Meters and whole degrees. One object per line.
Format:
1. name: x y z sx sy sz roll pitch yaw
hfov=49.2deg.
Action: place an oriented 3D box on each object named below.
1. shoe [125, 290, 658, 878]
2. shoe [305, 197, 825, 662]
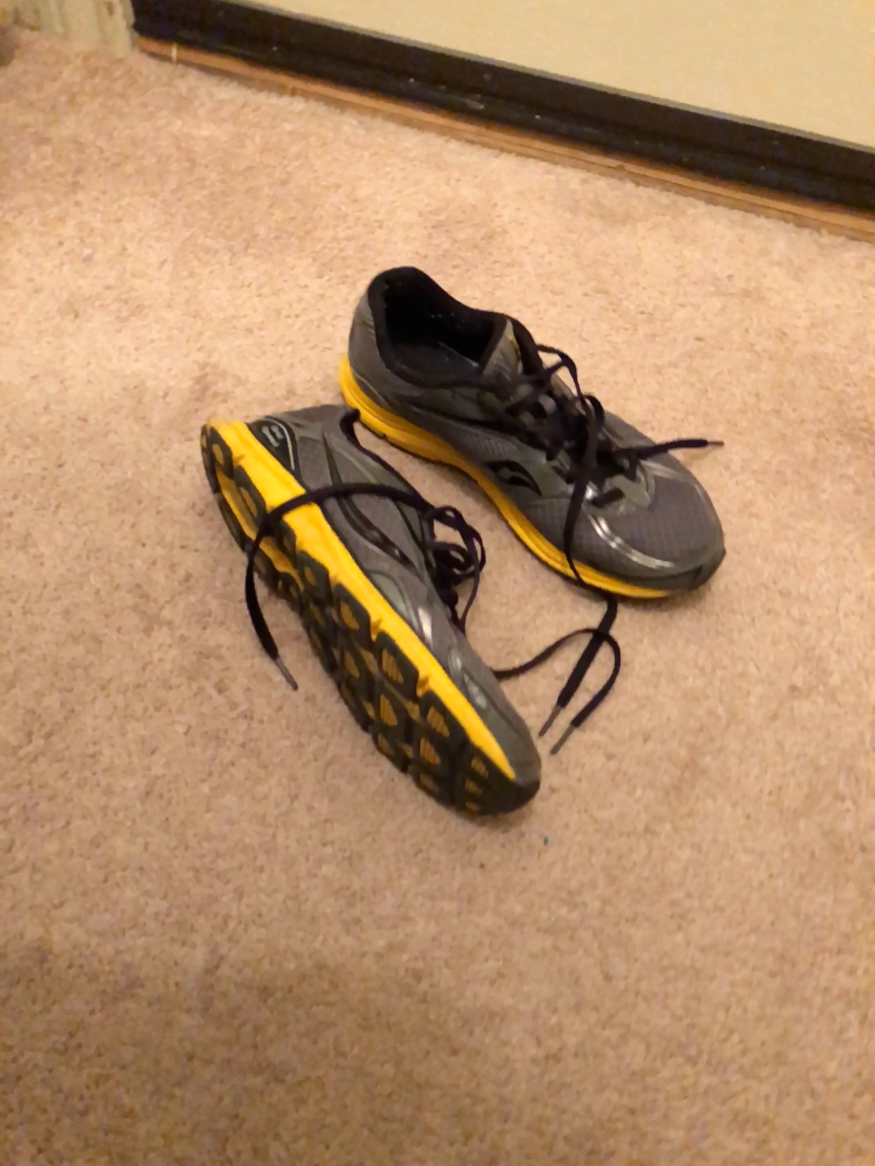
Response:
1. shoe: -0.035 -0.007 0.519 0.109 0.118 0.294 -33 65 -19
2. shoe: 0.064 -0.100 0.581 0.283 0.099 0.118 39 63 19
